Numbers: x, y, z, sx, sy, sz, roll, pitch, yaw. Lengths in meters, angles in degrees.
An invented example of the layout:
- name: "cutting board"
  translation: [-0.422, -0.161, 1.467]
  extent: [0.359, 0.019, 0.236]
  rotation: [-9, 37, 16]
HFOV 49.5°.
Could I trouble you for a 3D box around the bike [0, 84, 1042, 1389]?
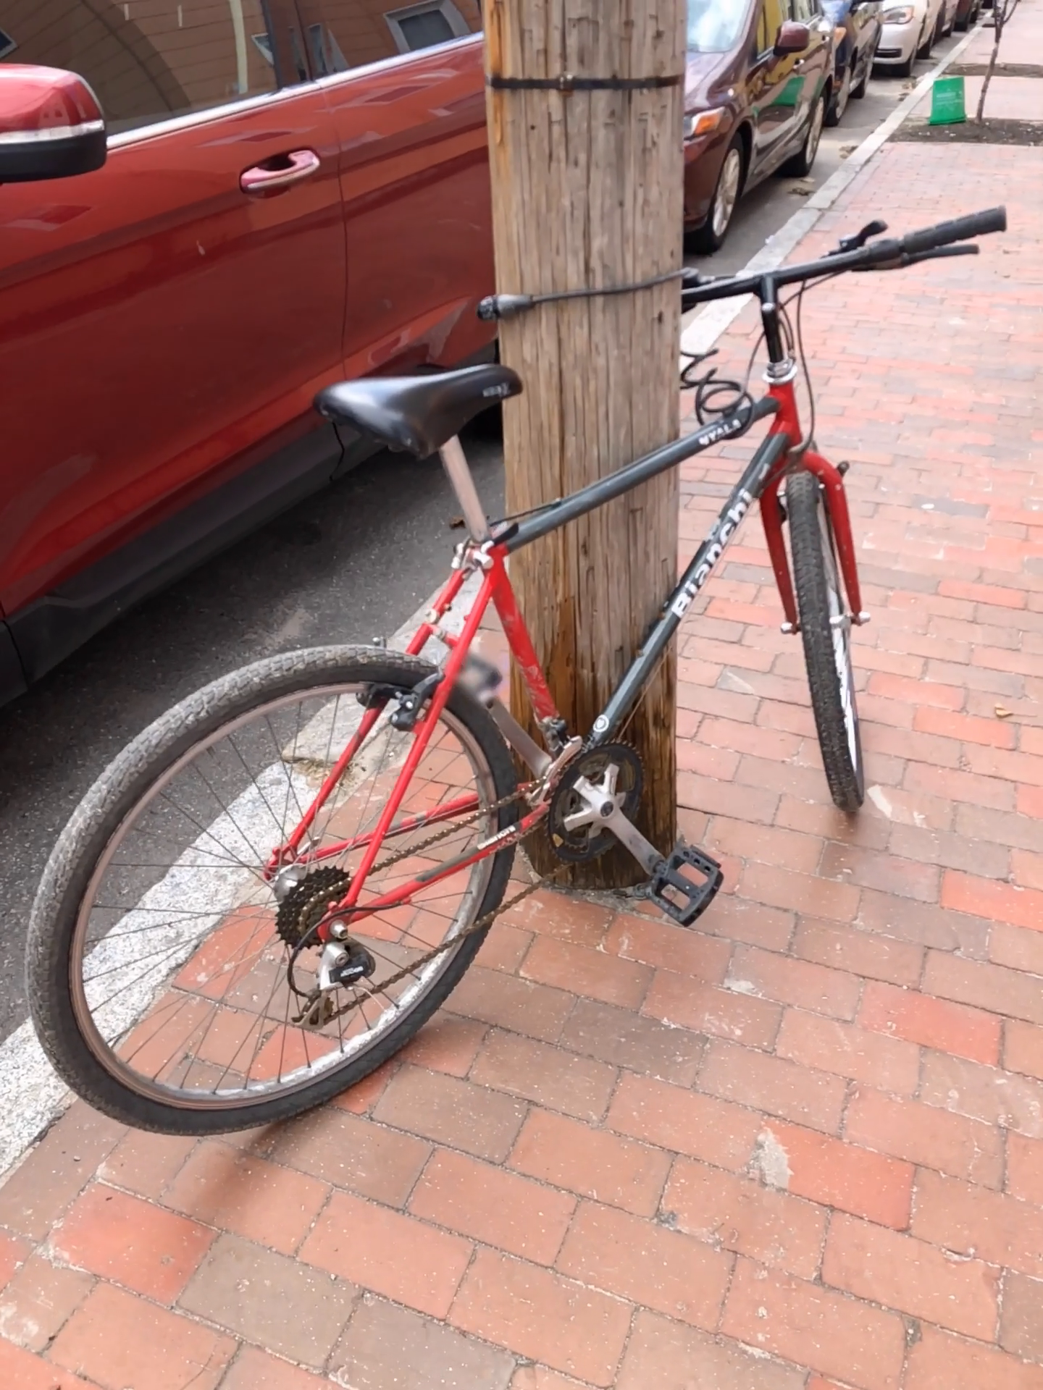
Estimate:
- name: "bike"
  translation: [0.027, -0.171, 1.539]
  extent: [0.581, 0.983, 1.534]
  rotation: [26, 42, 35]
